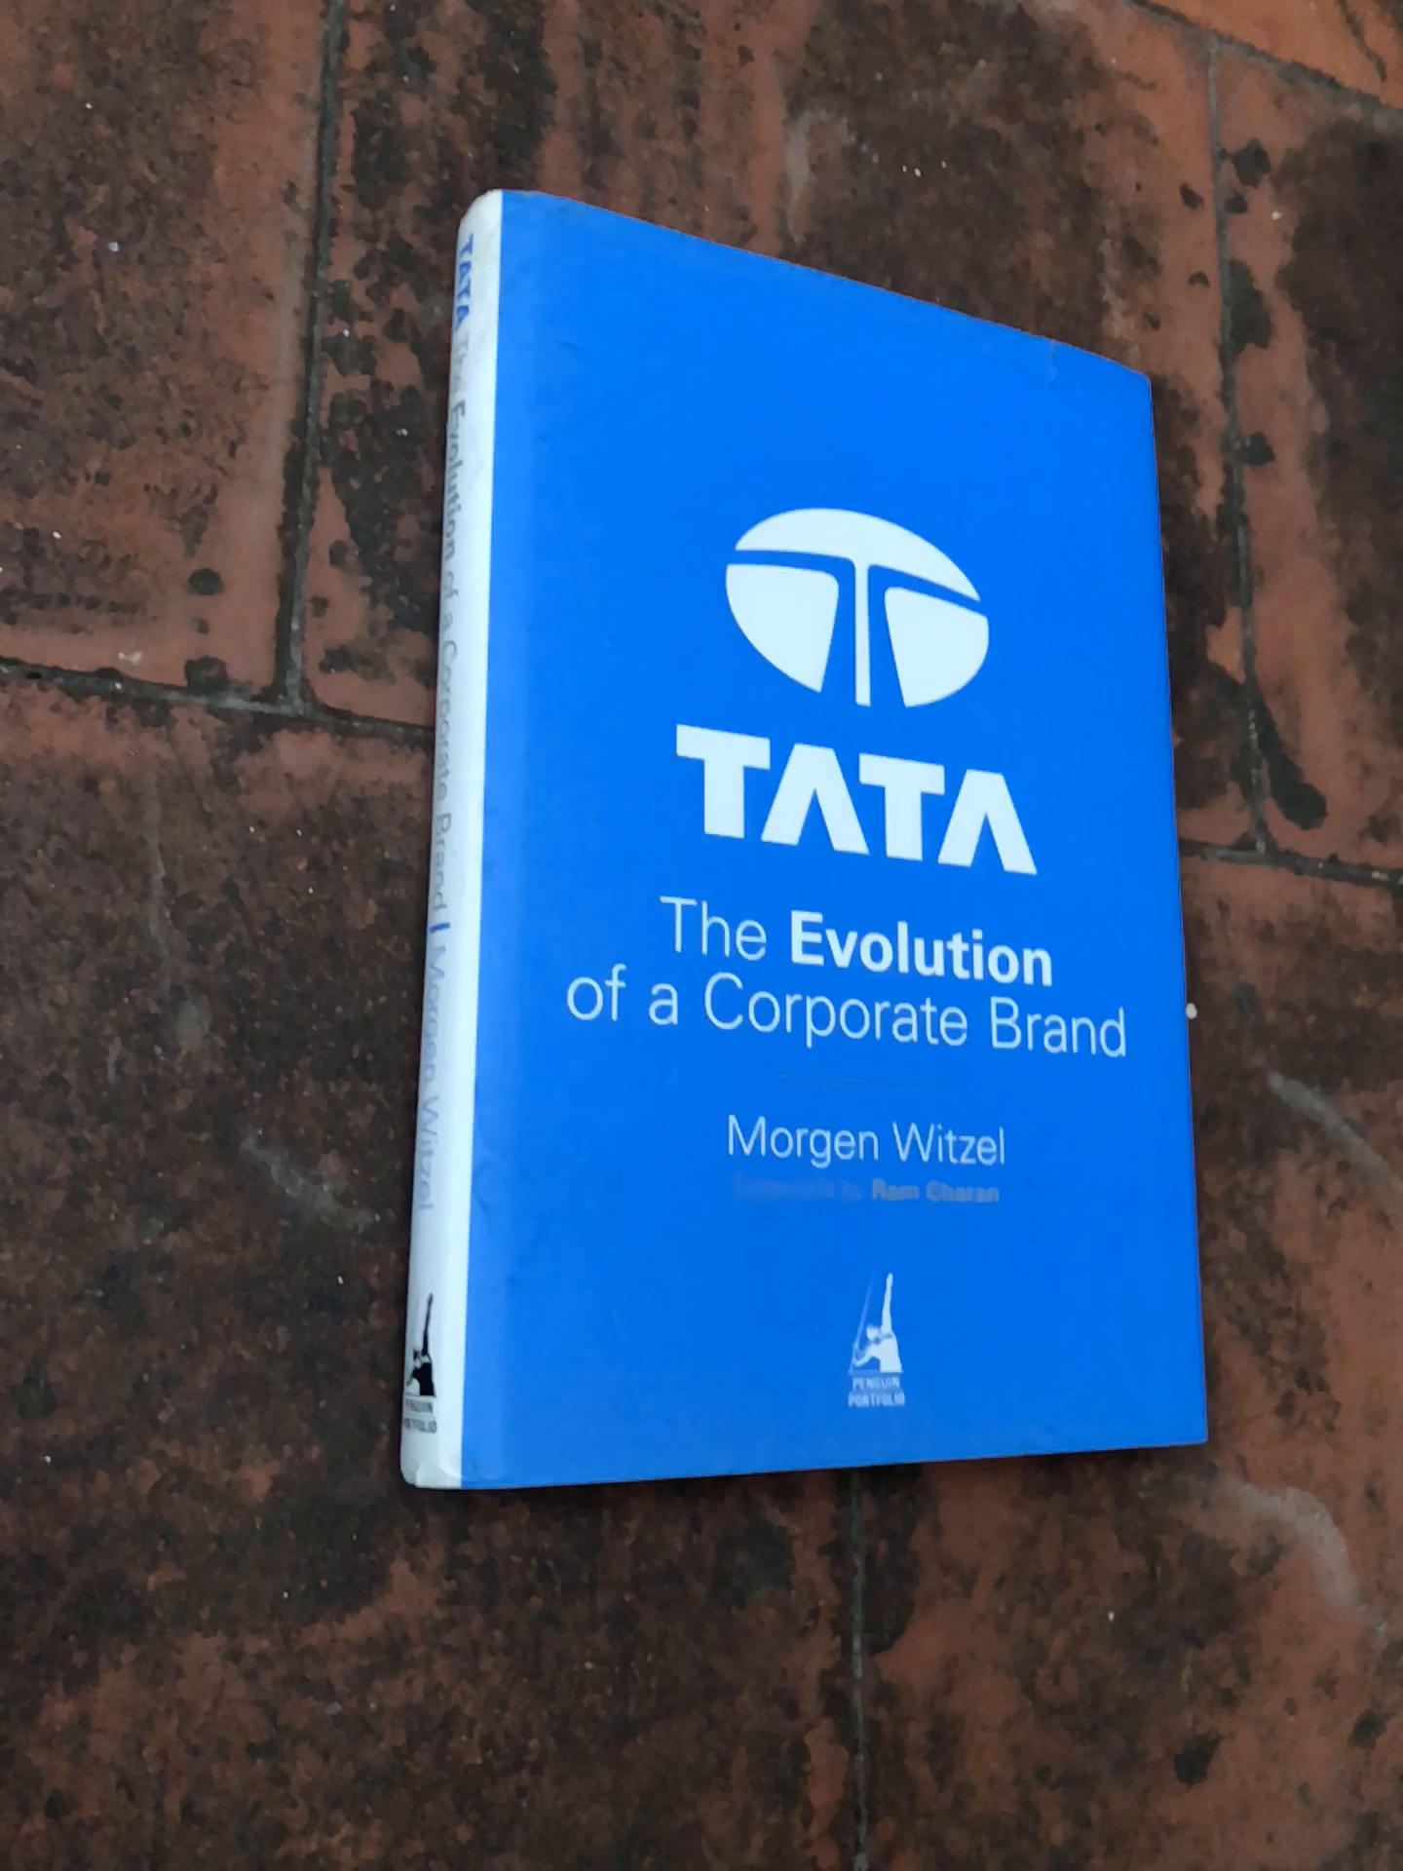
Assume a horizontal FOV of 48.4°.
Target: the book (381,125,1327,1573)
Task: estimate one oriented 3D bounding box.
[{"bbox_3d":[0.033,-0.014,0.303,0.171,0.040,0.240,6,76,-24],"label":"book"}]
